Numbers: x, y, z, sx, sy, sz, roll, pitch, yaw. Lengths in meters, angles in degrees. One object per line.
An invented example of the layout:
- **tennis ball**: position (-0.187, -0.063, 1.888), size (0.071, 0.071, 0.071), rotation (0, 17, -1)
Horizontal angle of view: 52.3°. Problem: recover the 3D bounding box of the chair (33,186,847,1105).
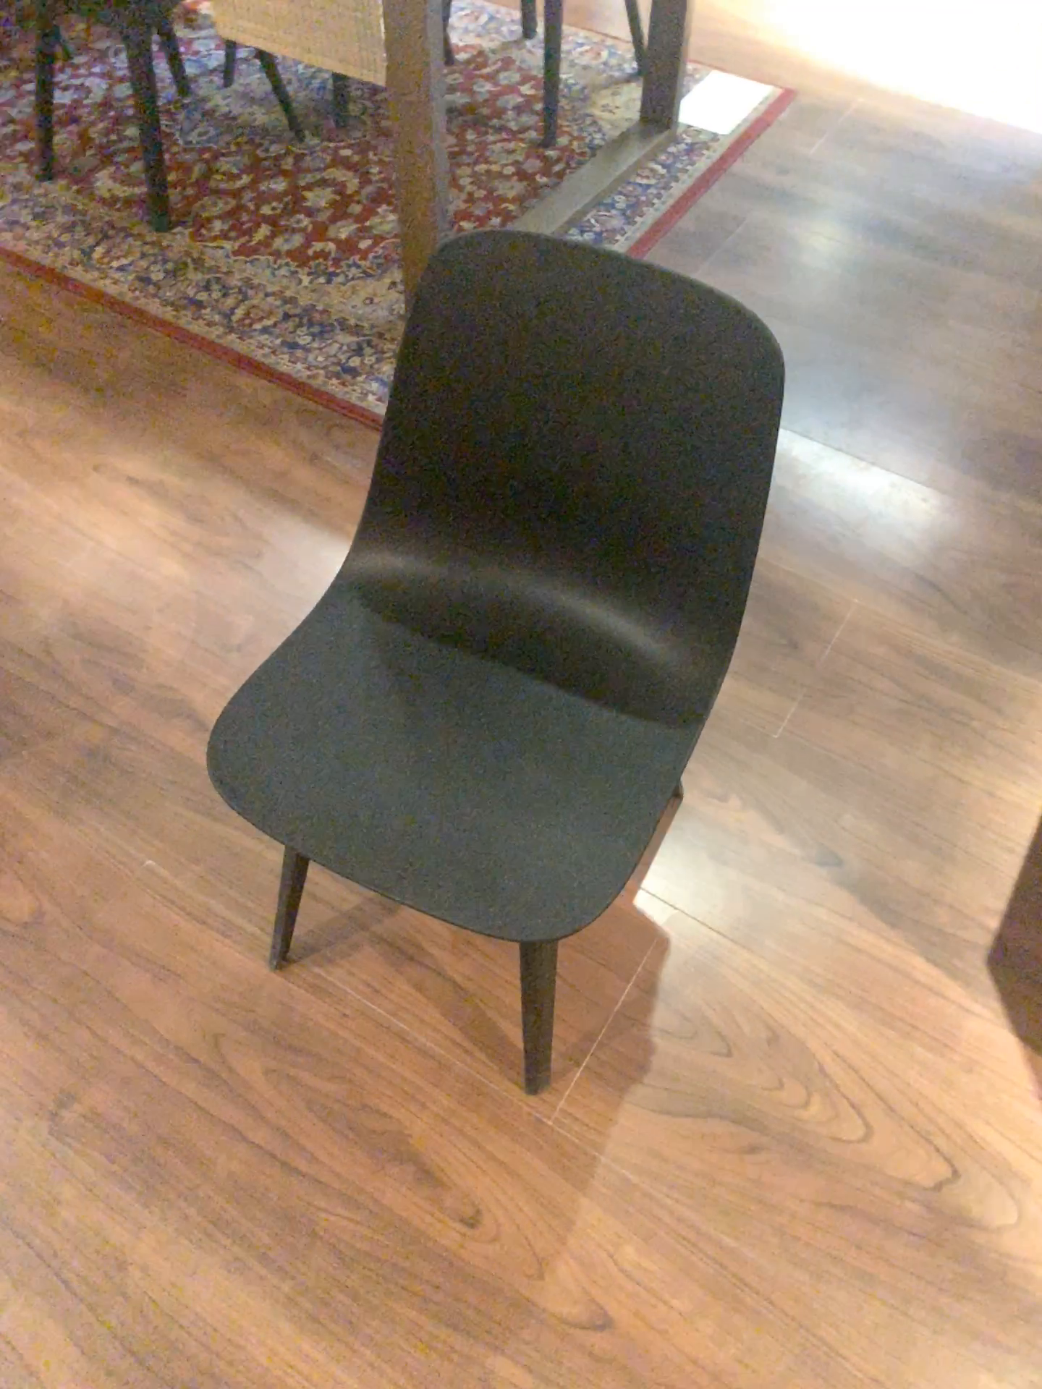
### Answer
- **chair**: position (-0.038, -0.013, 1.127), size (0.440, 0.718, 0.531), rotation (22, 56, 14)
